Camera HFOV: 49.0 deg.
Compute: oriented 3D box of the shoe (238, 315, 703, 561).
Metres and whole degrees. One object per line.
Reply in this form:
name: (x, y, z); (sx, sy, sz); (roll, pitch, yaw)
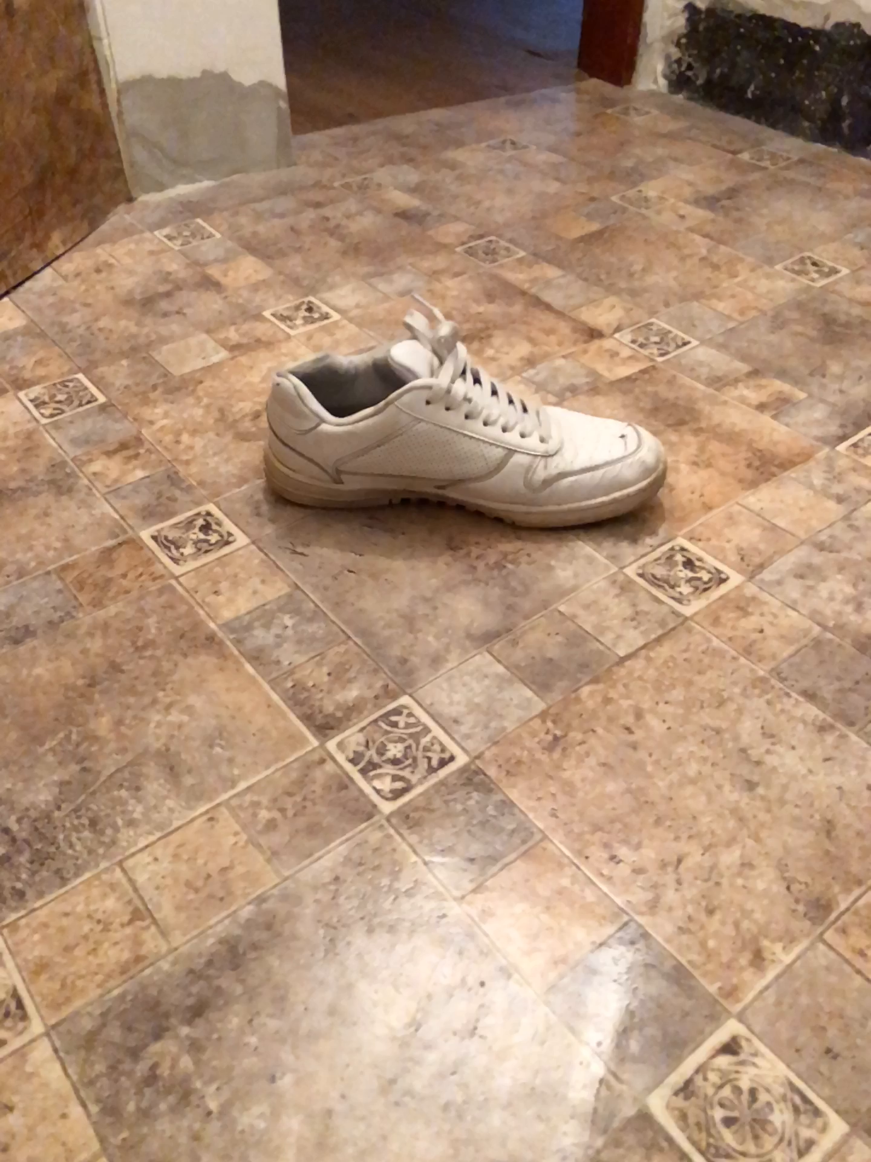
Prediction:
shoe: (0.024, -0.101, 0.658); (0.280, 0.109, 0.123); (3, 40, 4)
